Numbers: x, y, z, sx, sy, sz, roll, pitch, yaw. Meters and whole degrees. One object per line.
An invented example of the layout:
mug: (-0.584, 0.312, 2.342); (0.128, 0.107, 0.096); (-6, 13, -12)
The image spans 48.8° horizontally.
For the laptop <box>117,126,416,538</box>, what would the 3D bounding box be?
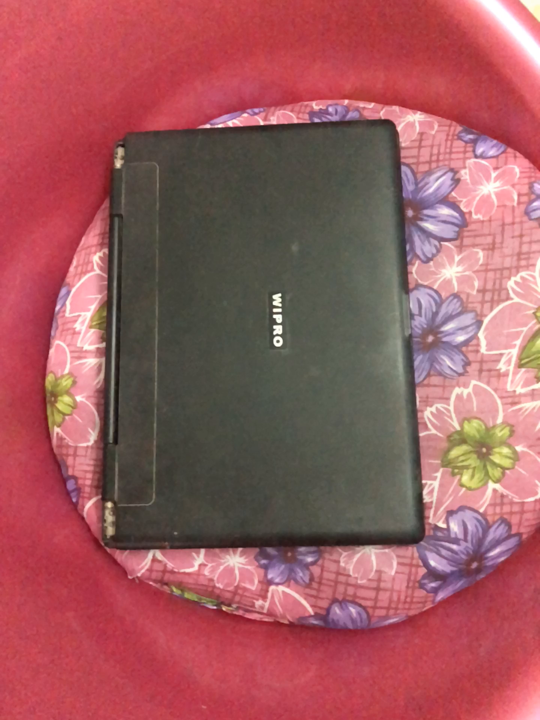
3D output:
laptop: (-0.007, -0.028, 0.468); (0.220, 0.006, 0.322); (-2, 80, 5)
